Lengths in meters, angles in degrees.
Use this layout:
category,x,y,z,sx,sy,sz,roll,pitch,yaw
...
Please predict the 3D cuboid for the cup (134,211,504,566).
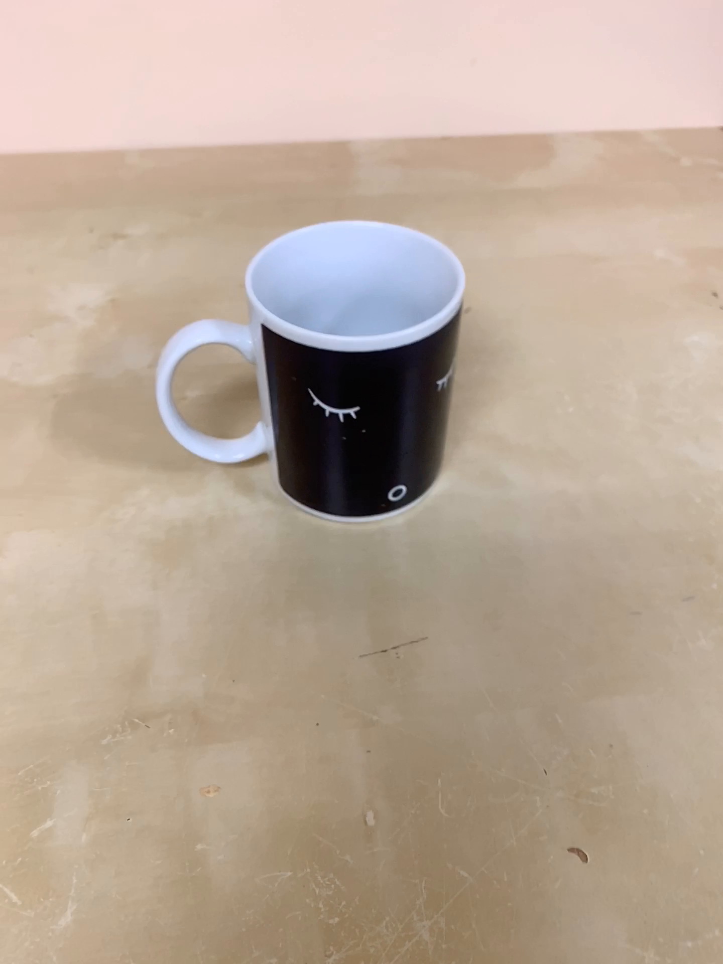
category,x,y,z,sx,sy,sz,roll,pitch,yaw
cup,-0.021,-0.039,0.309,0.121,0.101,0.084,-8,47,-9
